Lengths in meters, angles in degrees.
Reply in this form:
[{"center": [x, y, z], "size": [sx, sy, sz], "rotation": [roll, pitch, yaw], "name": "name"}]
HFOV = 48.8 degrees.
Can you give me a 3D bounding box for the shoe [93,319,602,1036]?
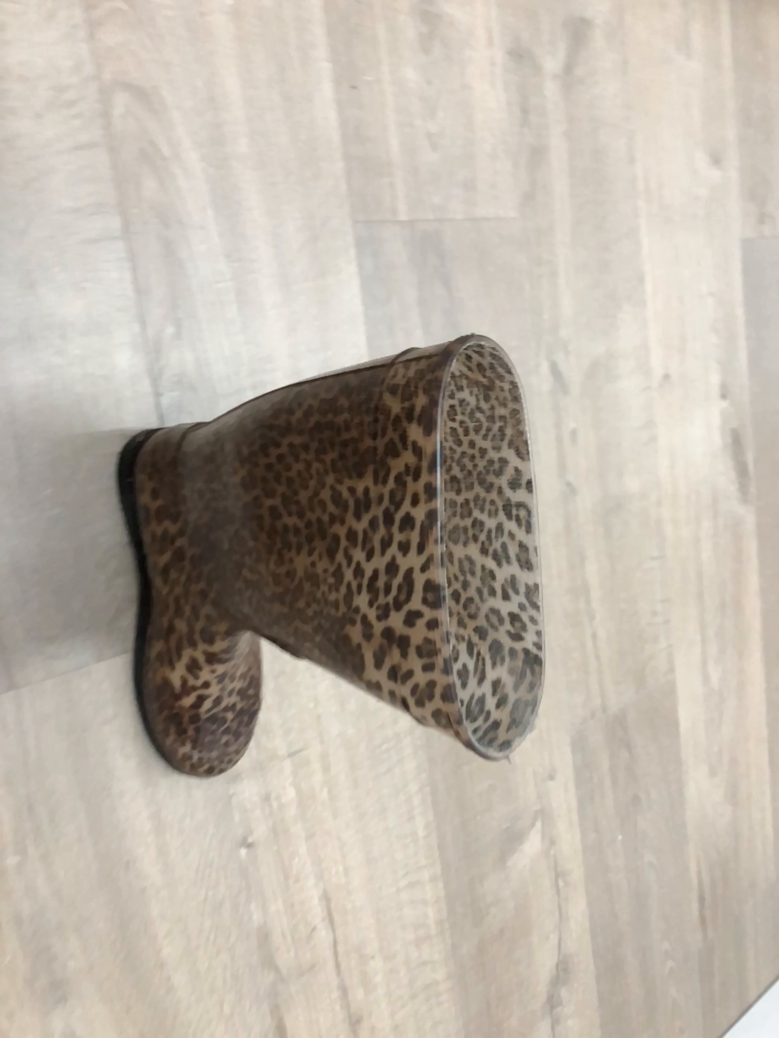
[{"center": [-0.049, 0.049, 0.482], "size": [0.090, 0.338, 0.280], "rotation": [-10, 100, -37], "name": "shoe"}]
